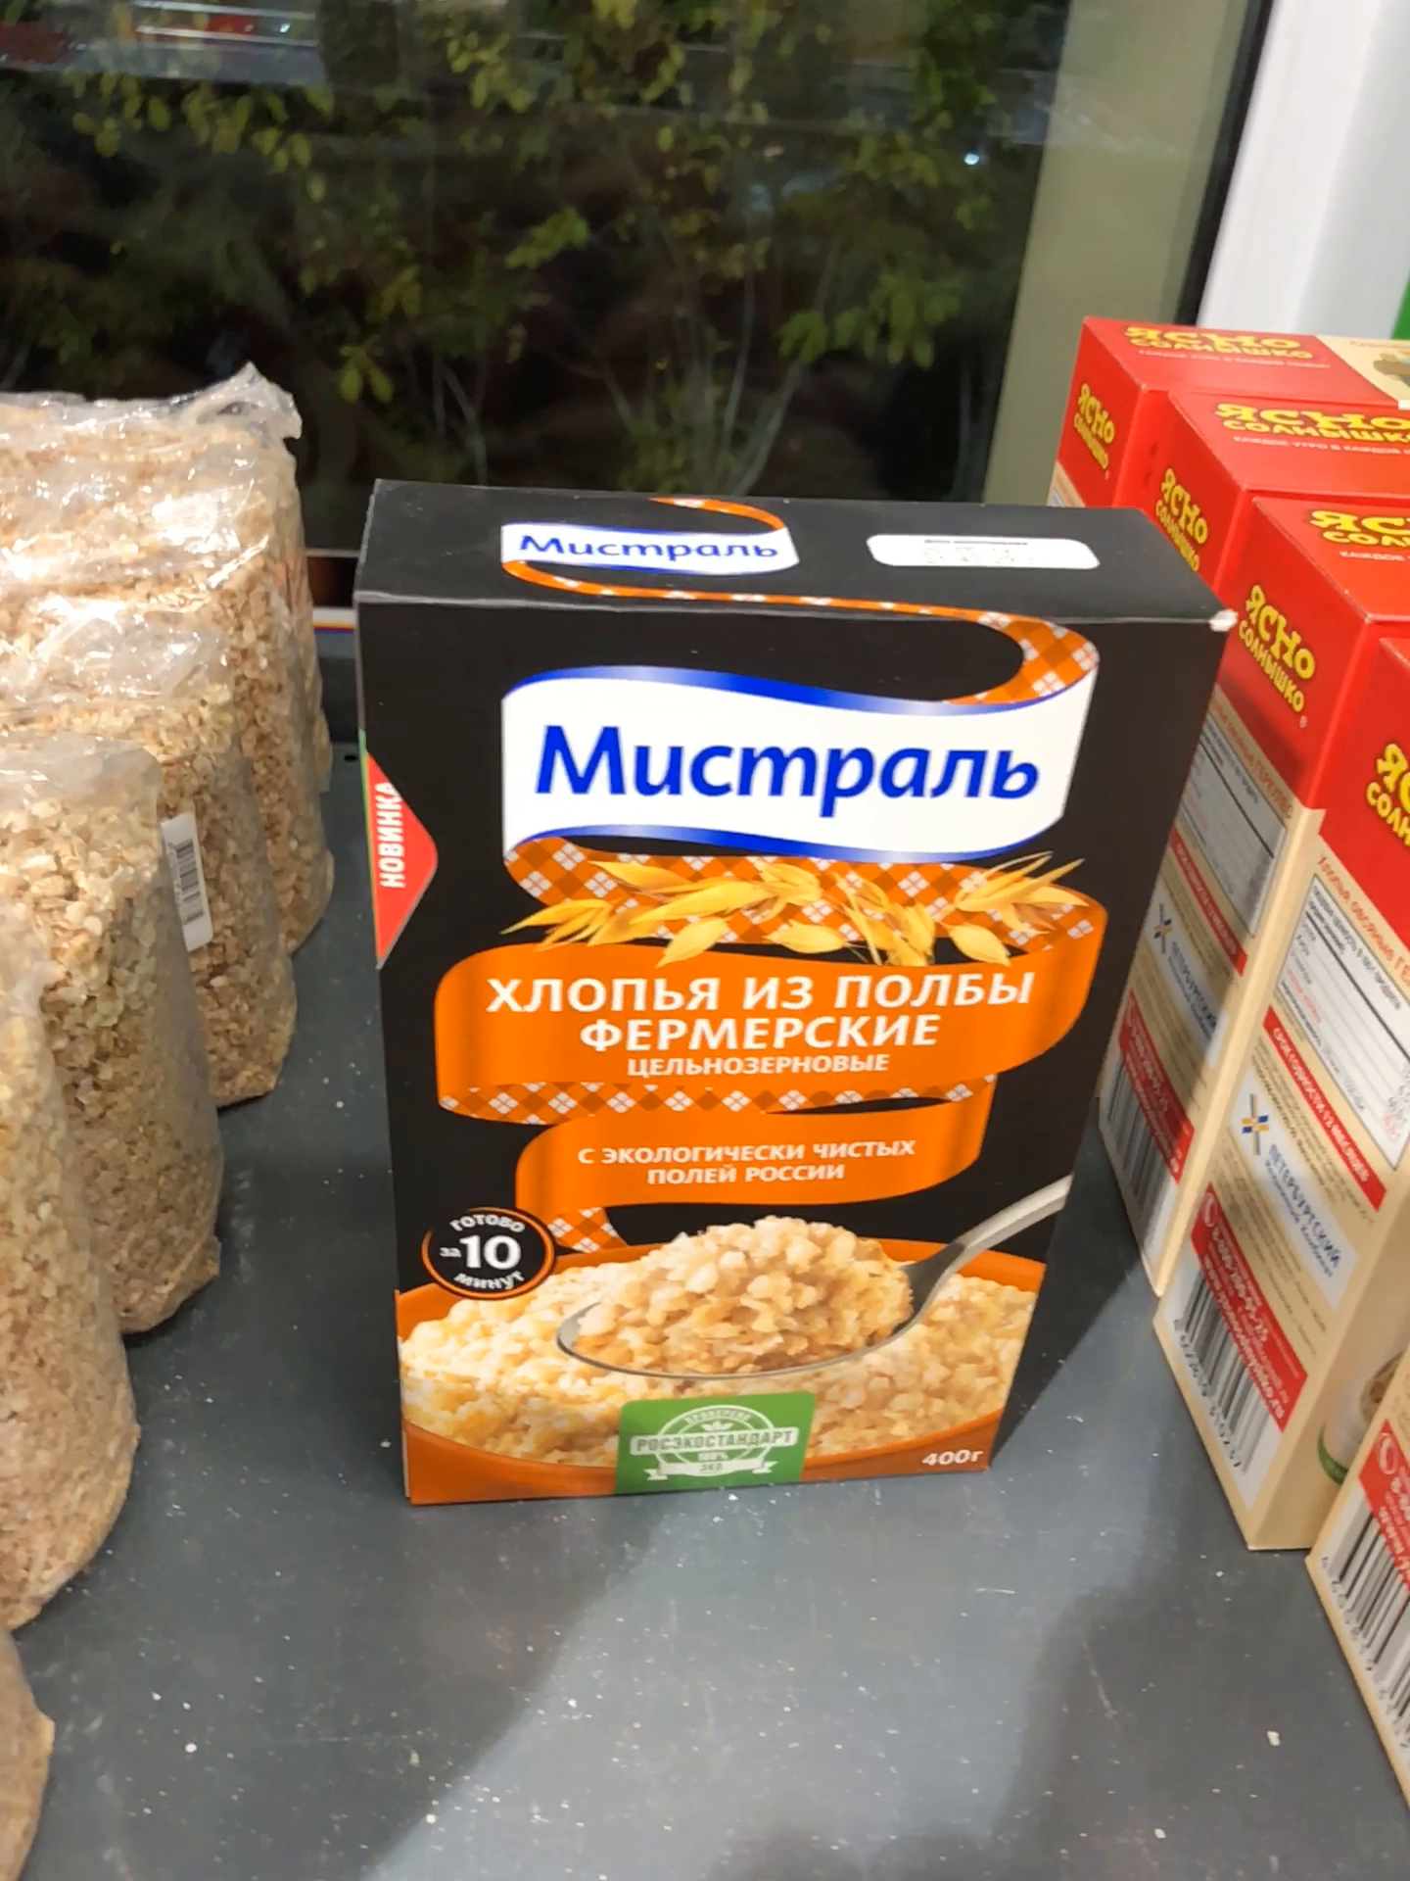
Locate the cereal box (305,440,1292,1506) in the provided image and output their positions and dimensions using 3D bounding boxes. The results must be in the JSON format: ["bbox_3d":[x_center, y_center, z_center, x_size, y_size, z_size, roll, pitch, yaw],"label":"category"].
[{"bbox_3d":[0.006,0.019,0.298,0.140,0.209,0.050,0,36,-8],"label":"cereal box"}]
